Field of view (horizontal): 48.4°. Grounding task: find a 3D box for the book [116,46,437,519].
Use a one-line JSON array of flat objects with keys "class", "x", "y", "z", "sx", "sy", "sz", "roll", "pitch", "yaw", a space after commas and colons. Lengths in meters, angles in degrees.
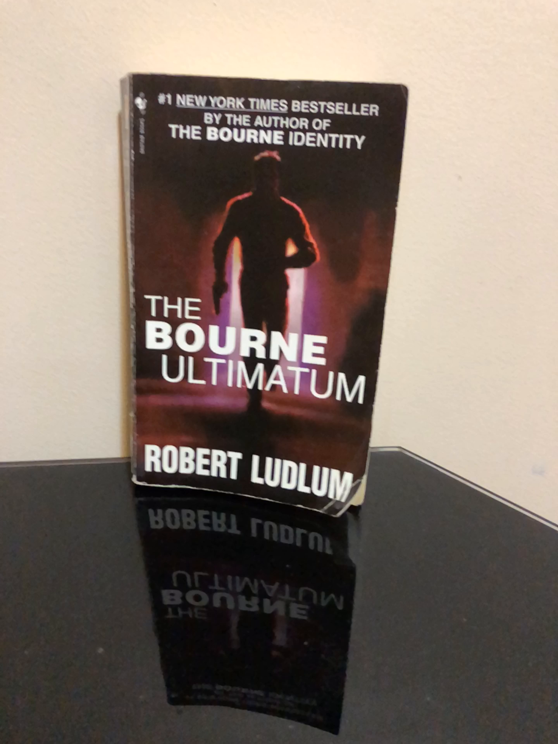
[{"class": "book", "x": -0.003, "y": -0.038, "z": 0.289, "sx": 0.120, "sy": 0.189, "sz": 0.070, "roll": 2, "pitch": 14, "yaw": 2}]
